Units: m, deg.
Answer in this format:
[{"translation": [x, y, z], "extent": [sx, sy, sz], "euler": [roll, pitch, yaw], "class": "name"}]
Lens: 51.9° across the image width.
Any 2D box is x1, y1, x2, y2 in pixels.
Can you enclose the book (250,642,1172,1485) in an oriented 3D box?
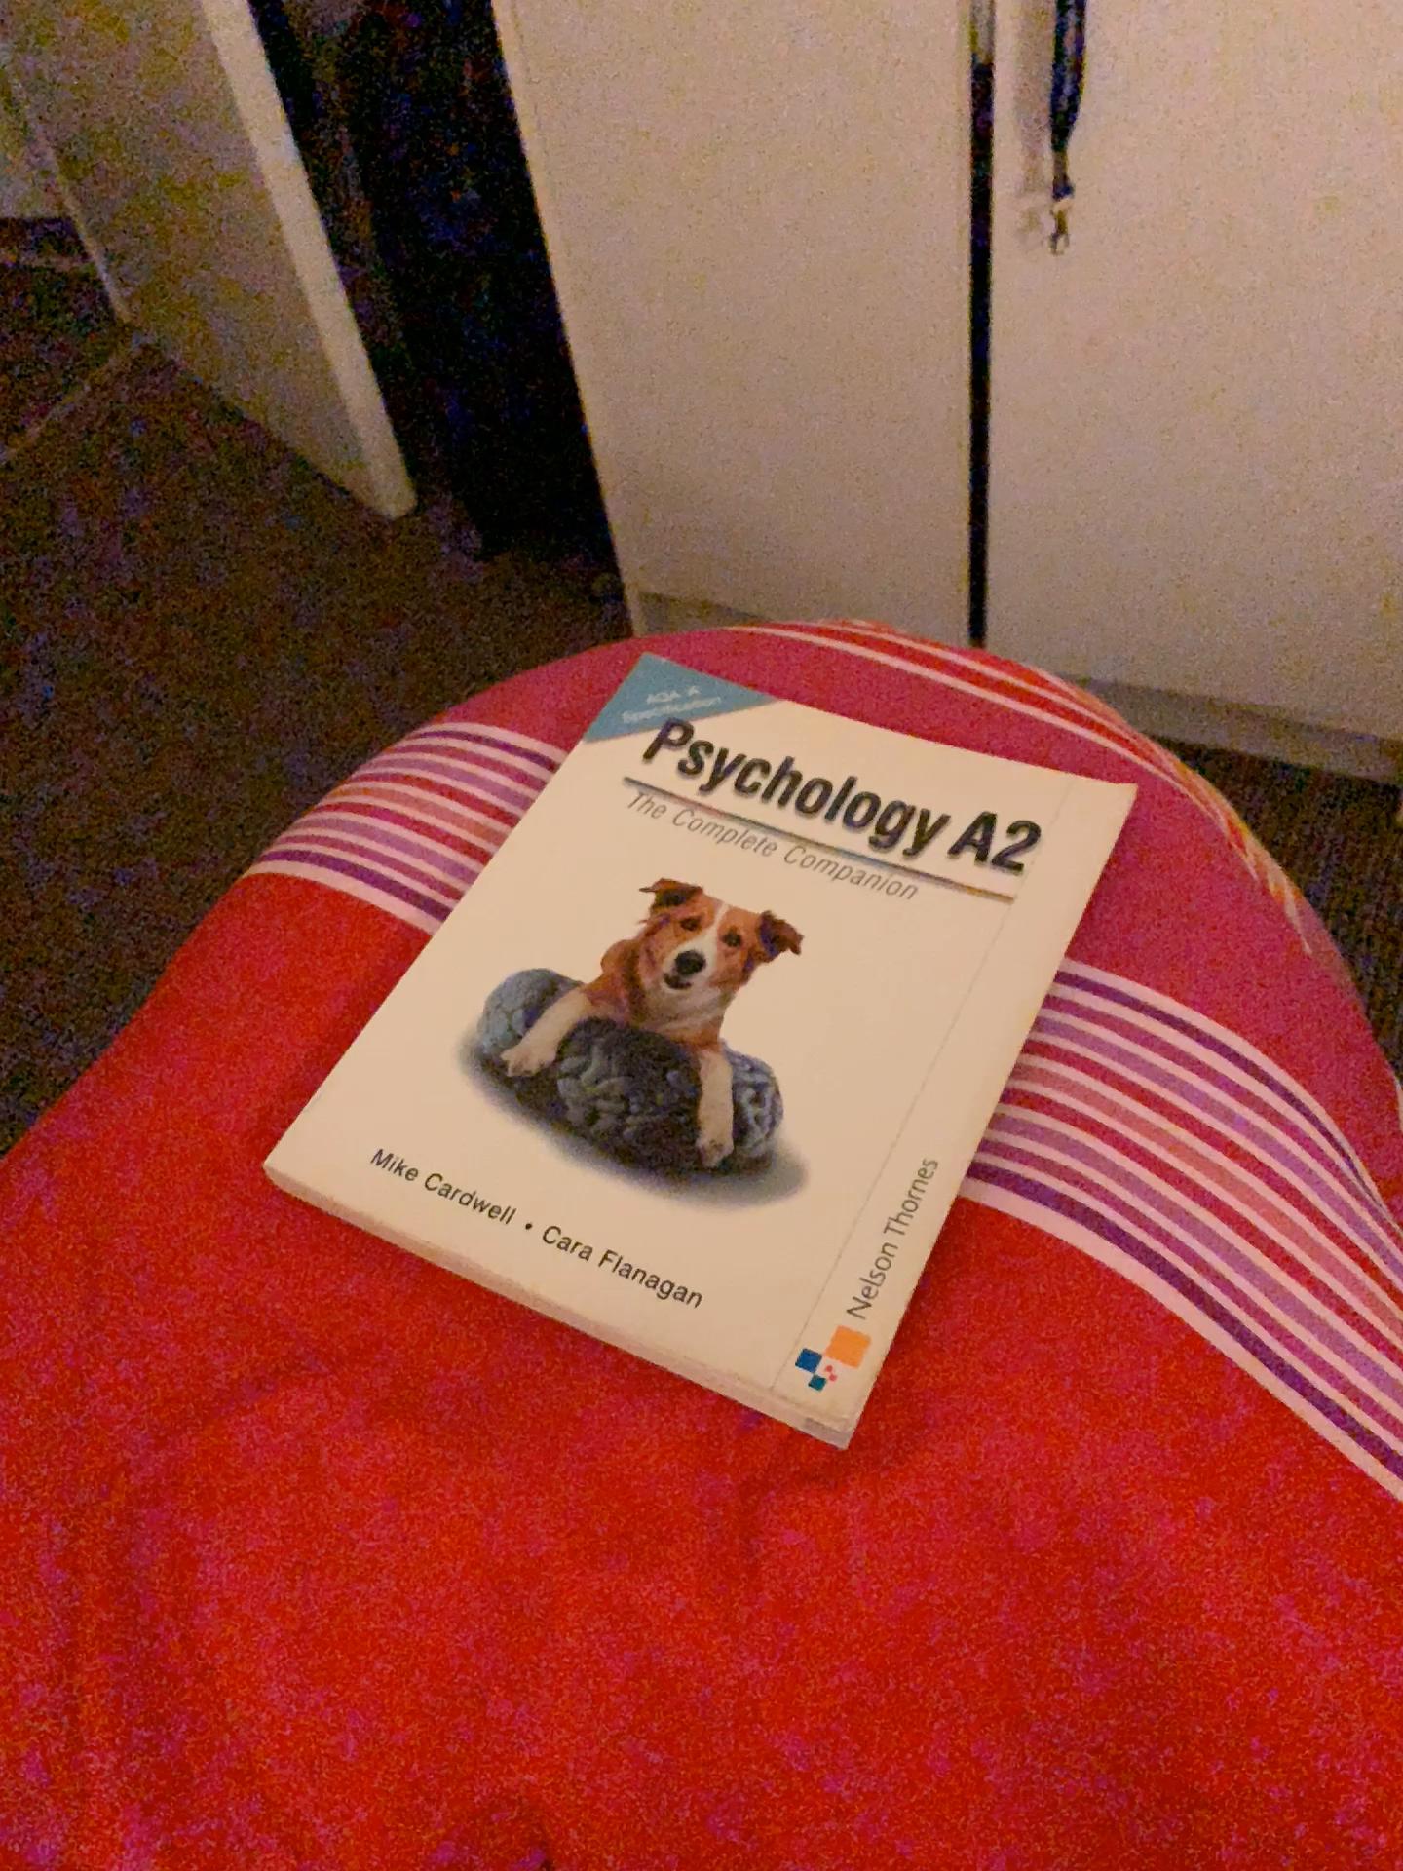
[{"translation": [0.016, 0.017, 0.551], "extent": [0.241, 0.040, 0.292], "euler": [17, 56, 23], "class": "book"}]
